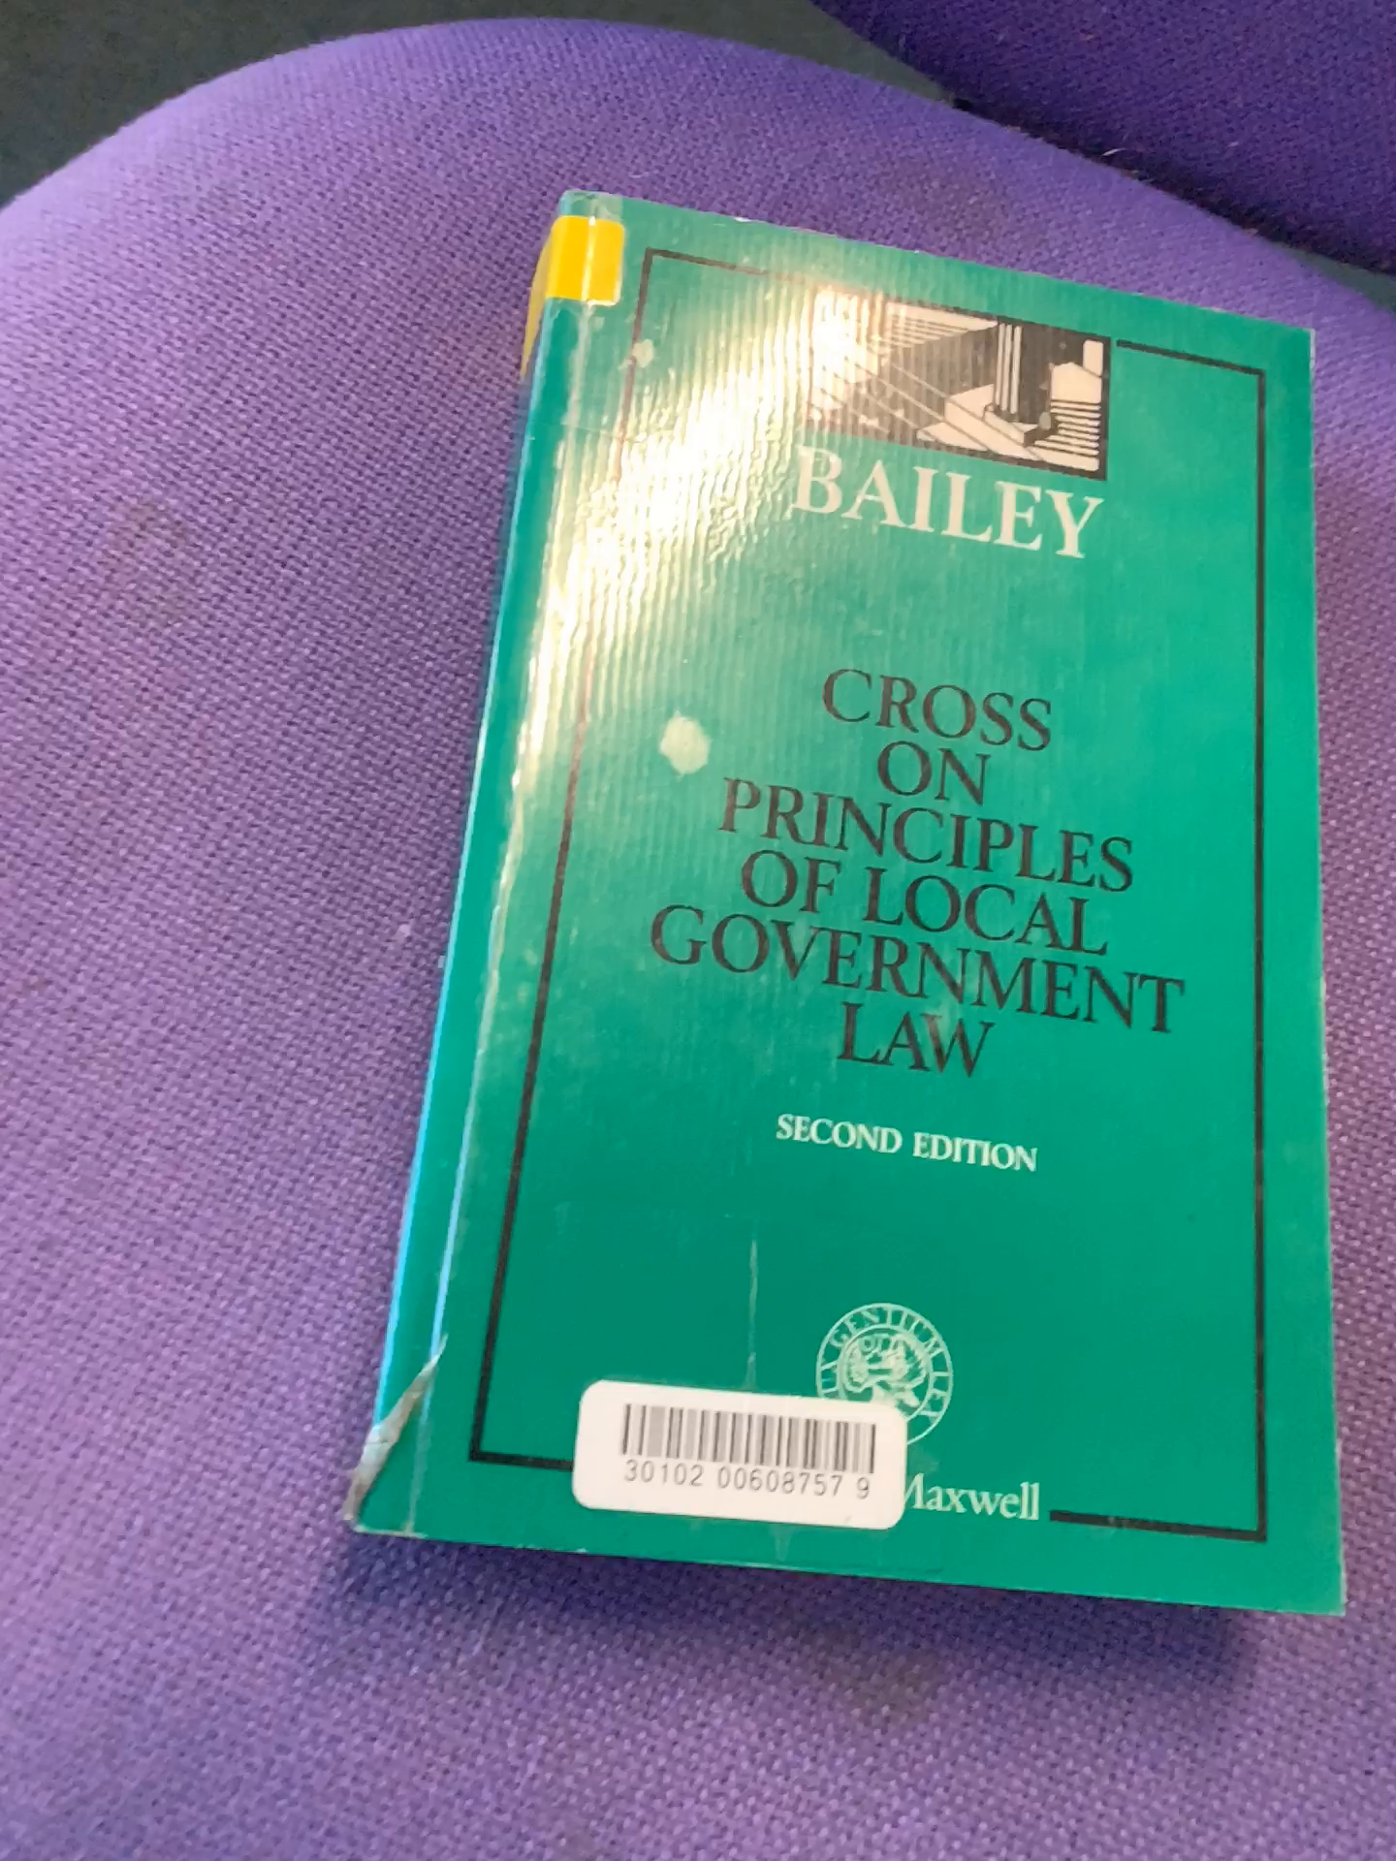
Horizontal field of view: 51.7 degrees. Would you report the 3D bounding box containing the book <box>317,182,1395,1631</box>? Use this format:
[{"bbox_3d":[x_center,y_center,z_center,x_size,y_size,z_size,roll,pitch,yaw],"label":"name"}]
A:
[{"bbox_3d":[0.034,-0.011,0.261,0.160,0.040,0.236,7,72,-7],"label":"book"}]
